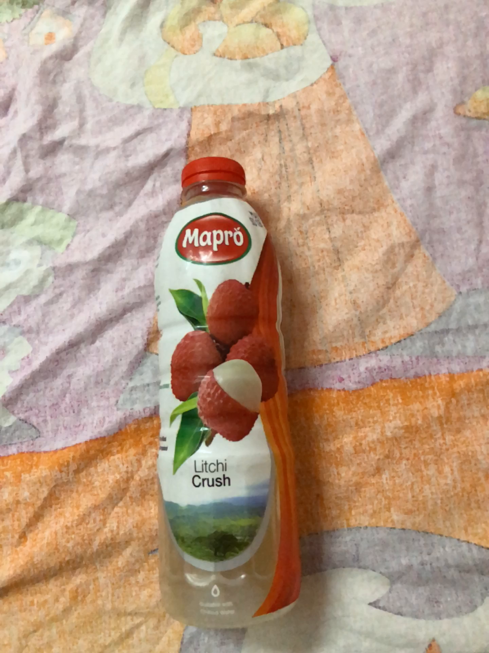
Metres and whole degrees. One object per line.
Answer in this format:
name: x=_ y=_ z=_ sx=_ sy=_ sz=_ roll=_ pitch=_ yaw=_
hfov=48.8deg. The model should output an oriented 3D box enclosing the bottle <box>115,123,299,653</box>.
bottle: x=-0.020 y=0.029 z=0.302 sx=0.080 sy=0.070 sz=0.260 roll=-4 pitch=81 yaw=9
